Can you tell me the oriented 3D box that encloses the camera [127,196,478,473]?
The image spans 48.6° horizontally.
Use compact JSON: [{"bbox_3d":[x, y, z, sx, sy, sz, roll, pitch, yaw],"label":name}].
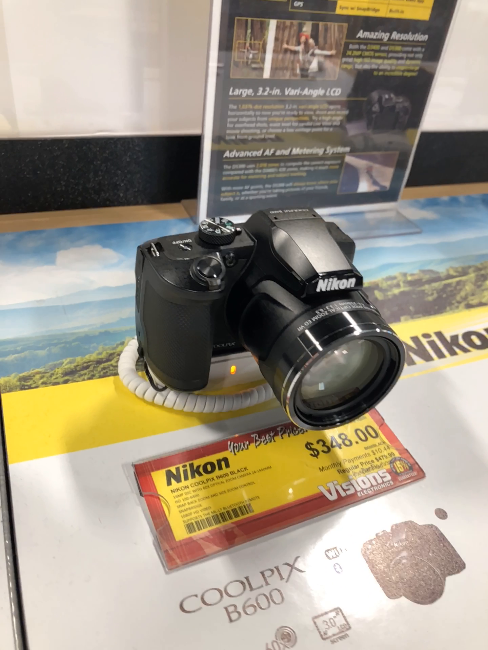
[{"bbox_3d":[0.019,-0.007,0.274,0.130,0.070,0.111,-9,39,-21],"label":"camera"}]
